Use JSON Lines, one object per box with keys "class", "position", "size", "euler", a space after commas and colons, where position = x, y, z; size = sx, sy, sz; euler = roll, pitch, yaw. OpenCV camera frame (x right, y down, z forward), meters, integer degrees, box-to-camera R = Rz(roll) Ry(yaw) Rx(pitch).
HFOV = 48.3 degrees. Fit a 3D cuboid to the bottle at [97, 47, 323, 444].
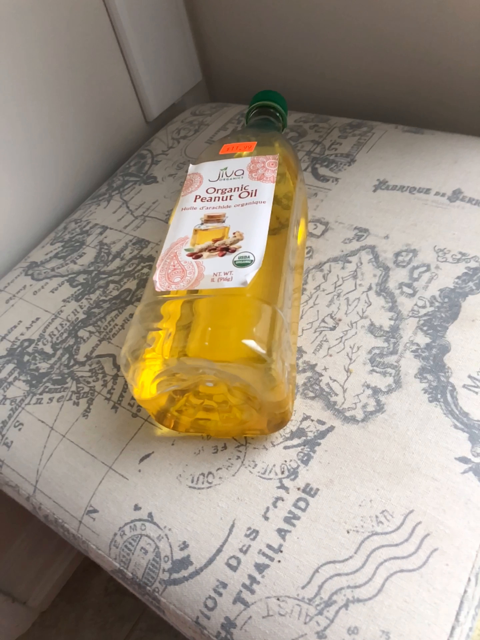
{"class": "bottle", "position": [0.002, -0.065, 0.333], "size": [0.080, 0.070, 0.271], "euler": [-1, 51, 14]}
